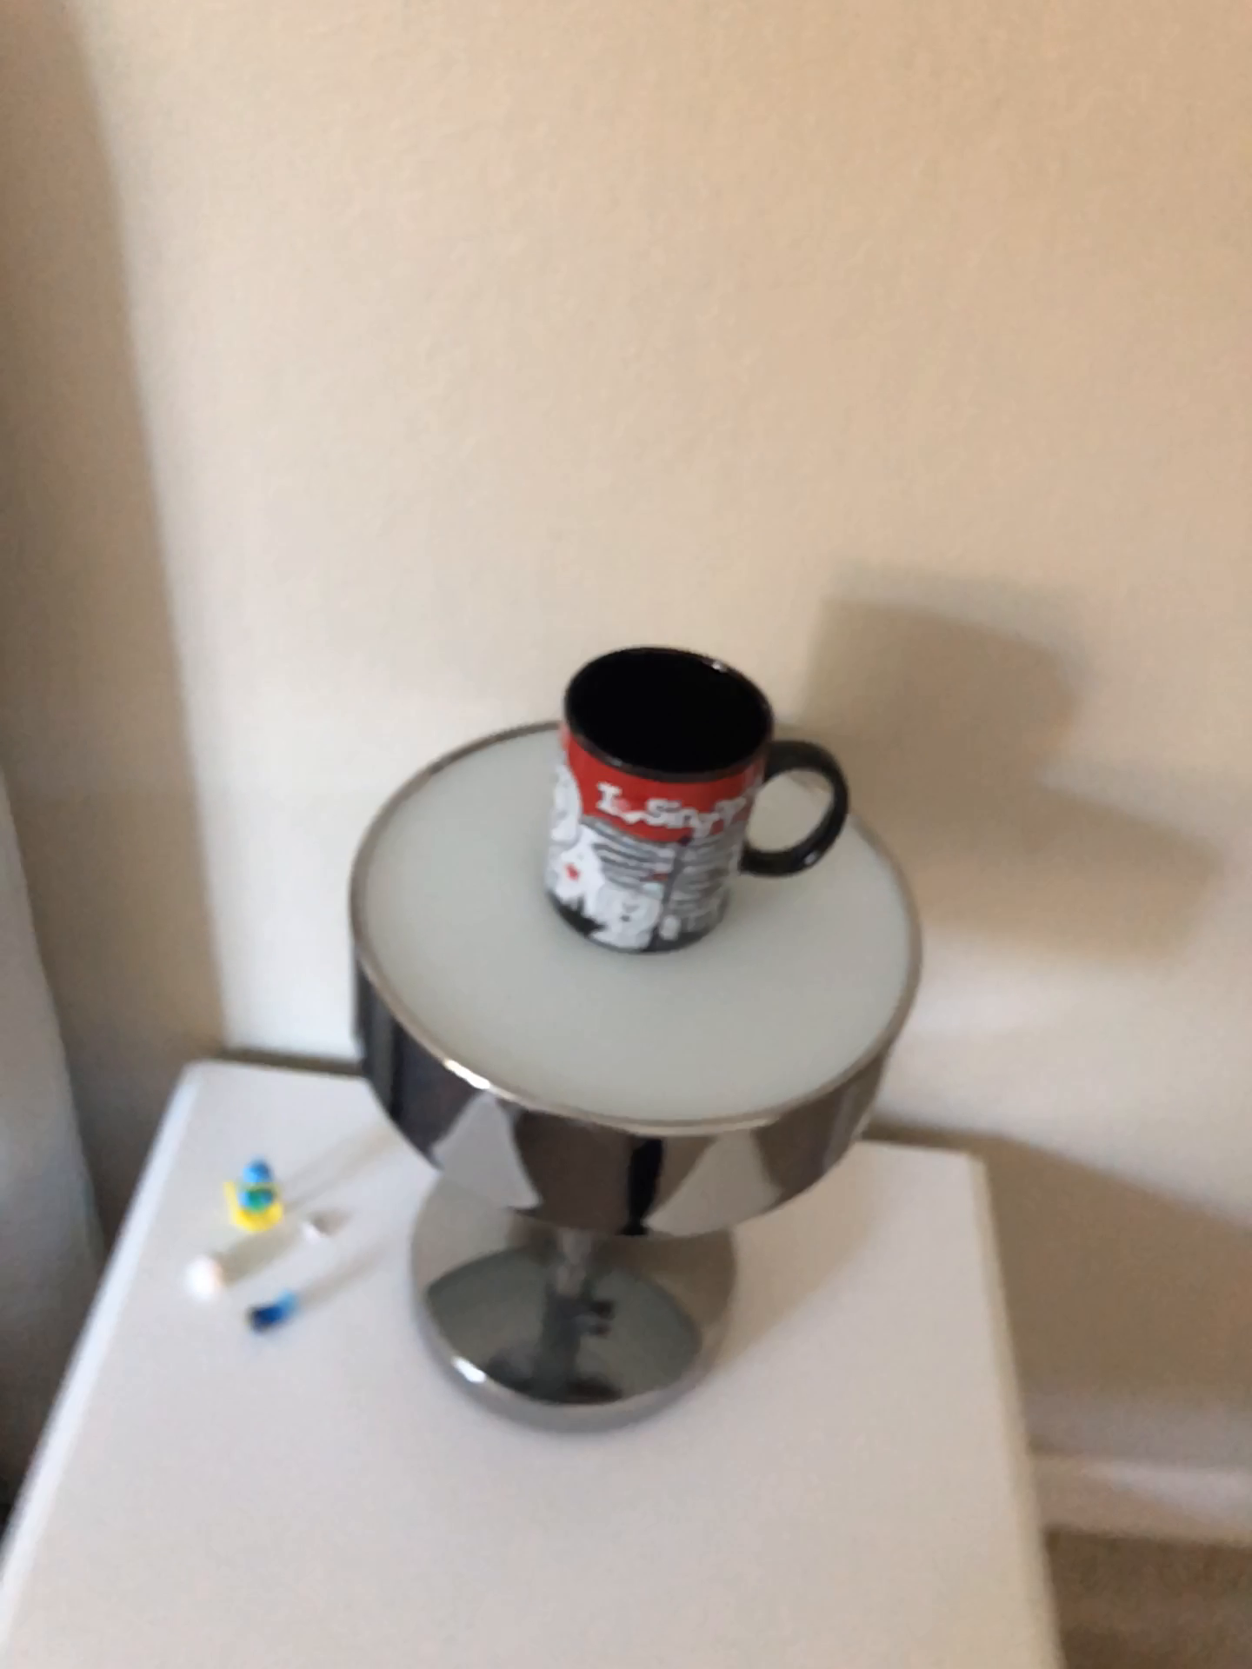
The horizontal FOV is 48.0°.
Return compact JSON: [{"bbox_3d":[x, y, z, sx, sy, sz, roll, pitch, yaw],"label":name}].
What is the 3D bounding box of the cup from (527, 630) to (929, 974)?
[{"bbox_3d":[0.033,-0.014,0.564,0.130,0.100,0.090,-1,43,-11],"label":"cup"}]
